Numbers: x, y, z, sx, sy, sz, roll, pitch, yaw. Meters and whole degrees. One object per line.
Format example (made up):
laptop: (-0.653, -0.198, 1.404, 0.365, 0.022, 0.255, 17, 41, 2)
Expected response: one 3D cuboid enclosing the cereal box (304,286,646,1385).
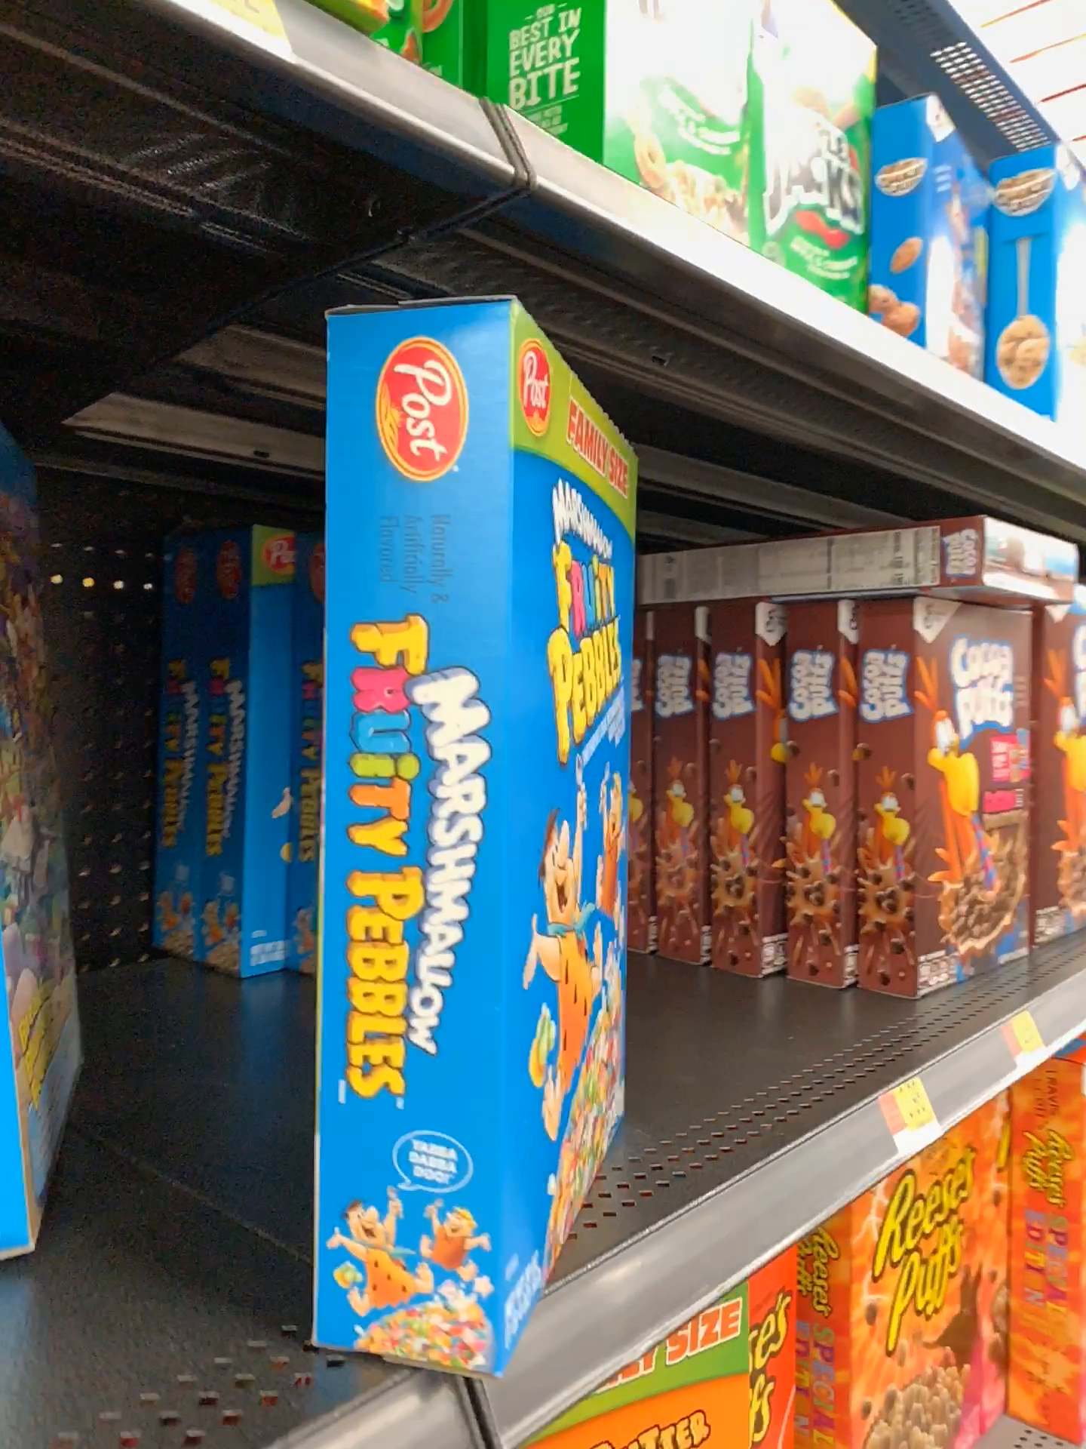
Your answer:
cereal box: (-0.012, 0.031, 0.455, 0.070, 0.330, 0.230, 1, 0, 13)
